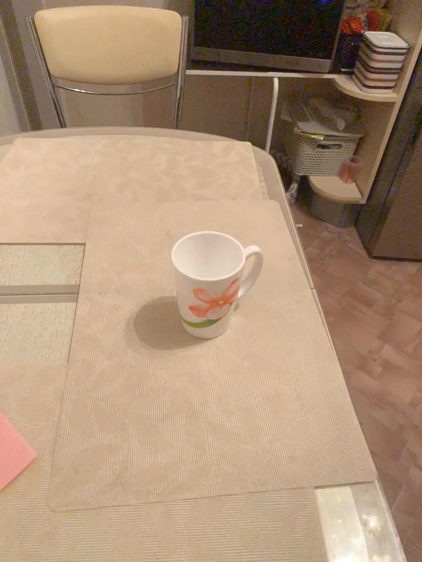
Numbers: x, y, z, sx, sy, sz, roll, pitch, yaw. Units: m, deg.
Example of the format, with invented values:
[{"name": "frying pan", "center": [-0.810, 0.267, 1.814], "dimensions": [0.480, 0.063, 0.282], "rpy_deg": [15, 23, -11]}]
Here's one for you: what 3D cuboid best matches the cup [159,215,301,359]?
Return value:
[{"name": "cup", "center": [0.016, 0.004, 0.482], "dimensions": [0.120, 0.099, 0.091], "rpy_deg": [-16, 48, -18]}]
